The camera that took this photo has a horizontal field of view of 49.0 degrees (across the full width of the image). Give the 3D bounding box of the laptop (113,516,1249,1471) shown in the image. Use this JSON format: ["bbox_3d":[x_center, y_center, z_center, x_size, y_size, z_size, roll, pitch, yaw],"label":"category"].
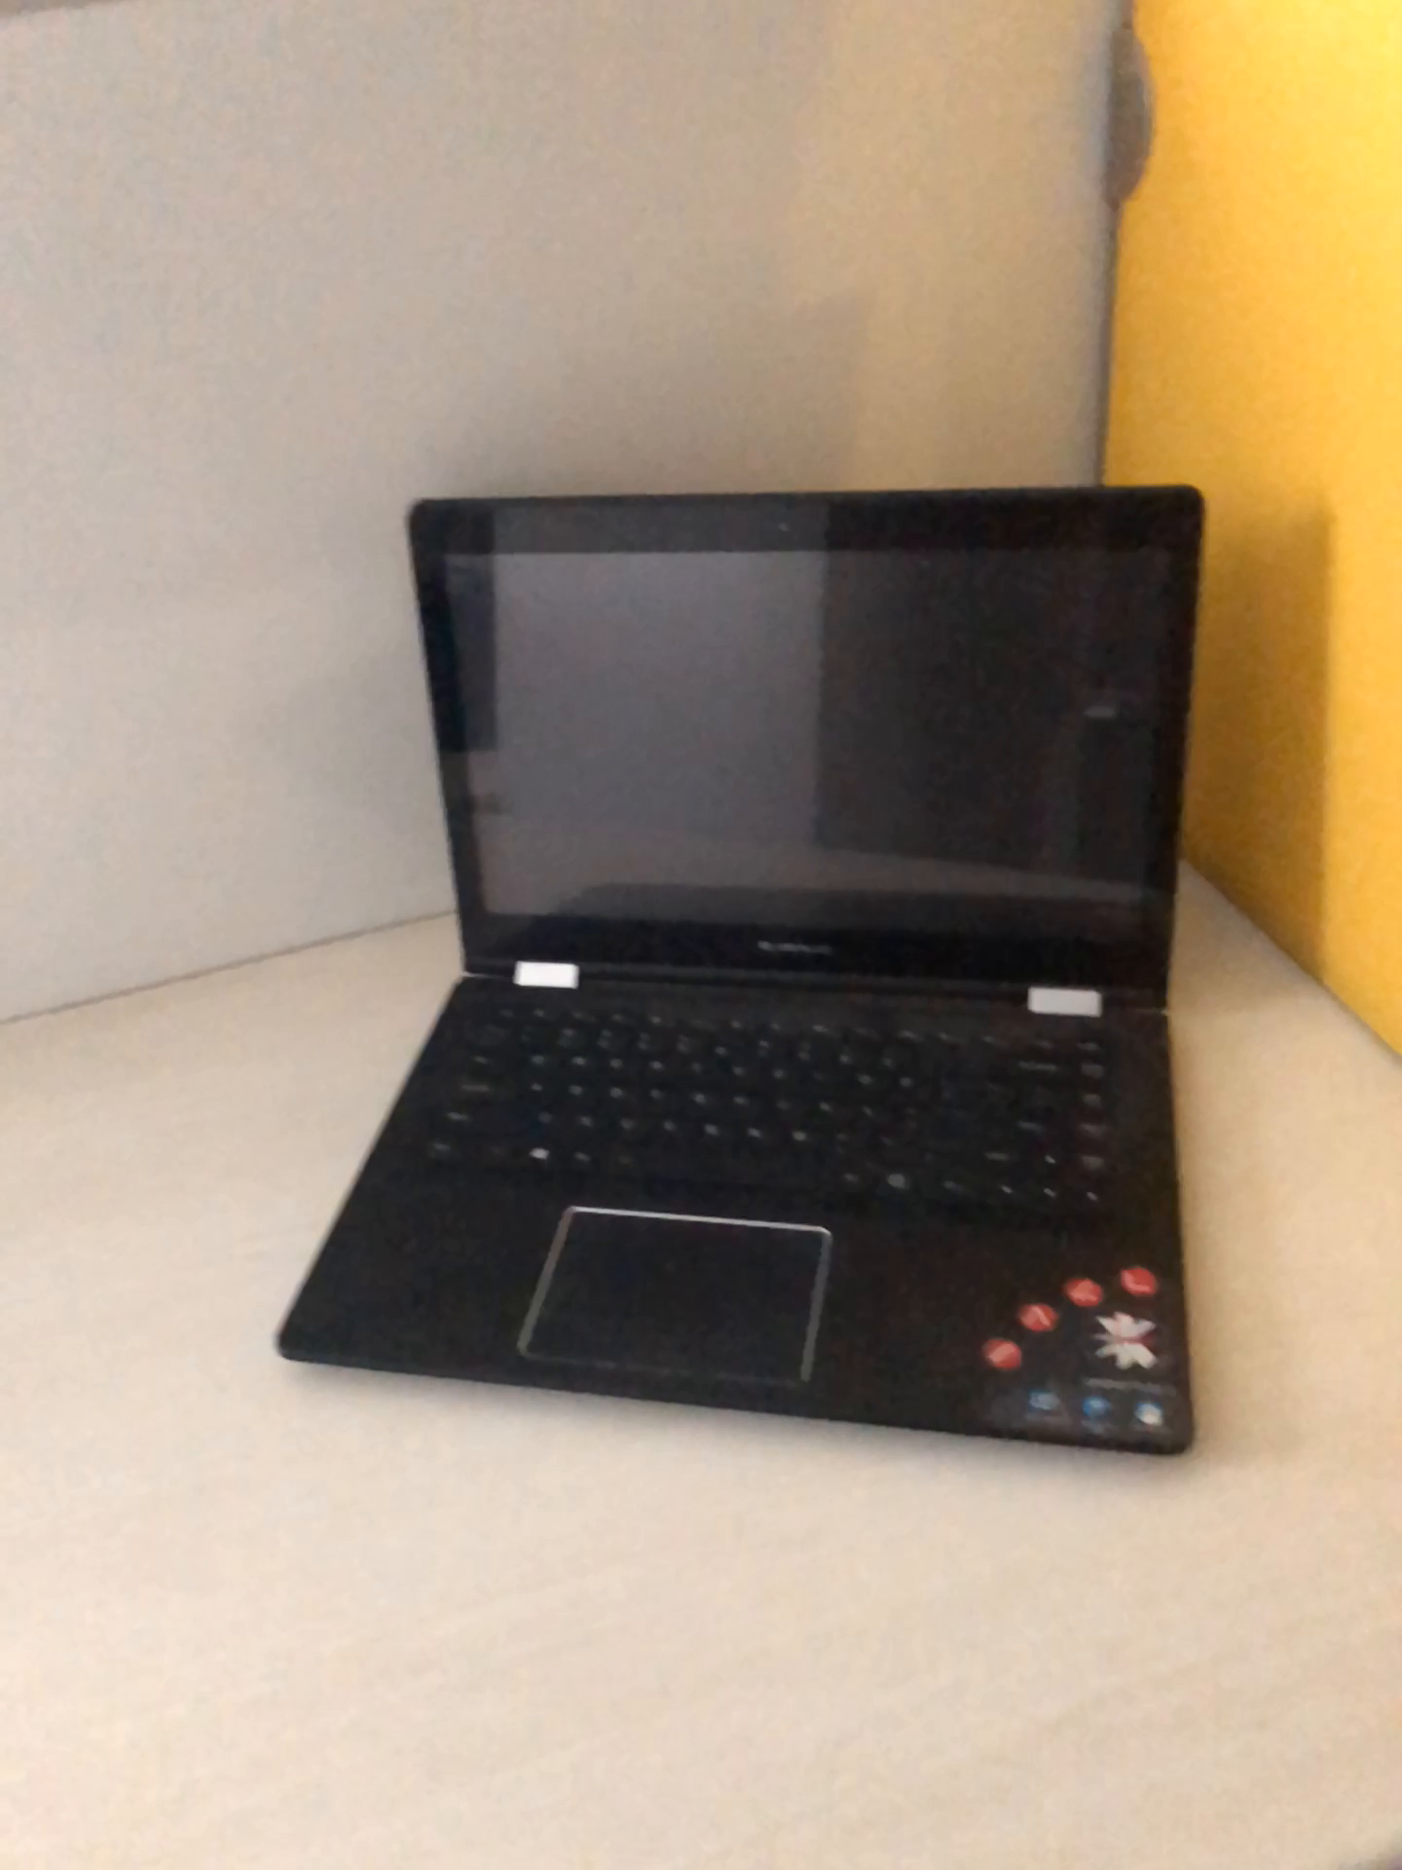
[{"bbox_3d":[0.016,0.000,0.580,0.311,0.225,0.265,3,37,12],"label":"laptop"}]
